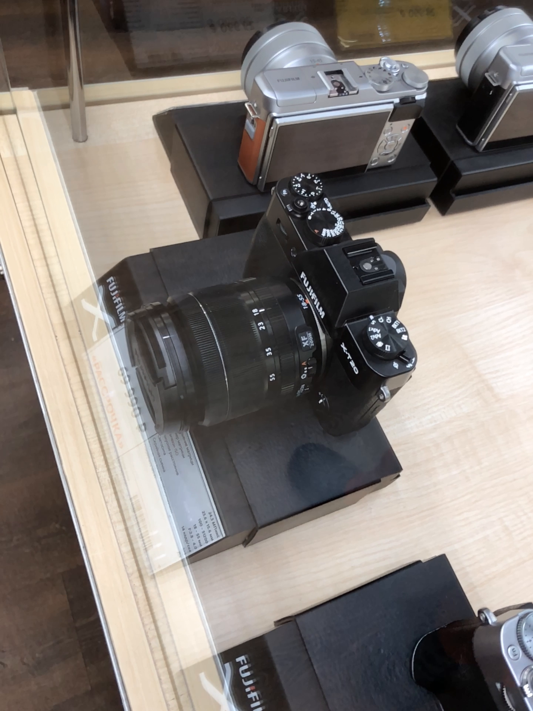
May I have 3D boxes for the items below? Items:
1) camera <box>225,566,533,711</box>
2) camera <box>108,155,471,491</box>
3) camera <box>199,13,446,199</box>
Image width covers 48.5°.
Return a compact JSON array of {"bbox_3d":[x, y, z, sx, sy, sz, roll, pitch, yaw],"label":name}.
[{"bbox_3d":[0.071,0.165,0.202,0.124,0.072,0.130,-15,66,-21],"label":"camera"},{"bbox_3d":[0.002,-0.020,0.297,0.130,0.080,0.122,-13,65,-20],"label":"camera"},{"bbox_3d":[0.031,-0.157,0.369,0.122,0.064,0.074,-16,66,-21],"label":"camera"}]
